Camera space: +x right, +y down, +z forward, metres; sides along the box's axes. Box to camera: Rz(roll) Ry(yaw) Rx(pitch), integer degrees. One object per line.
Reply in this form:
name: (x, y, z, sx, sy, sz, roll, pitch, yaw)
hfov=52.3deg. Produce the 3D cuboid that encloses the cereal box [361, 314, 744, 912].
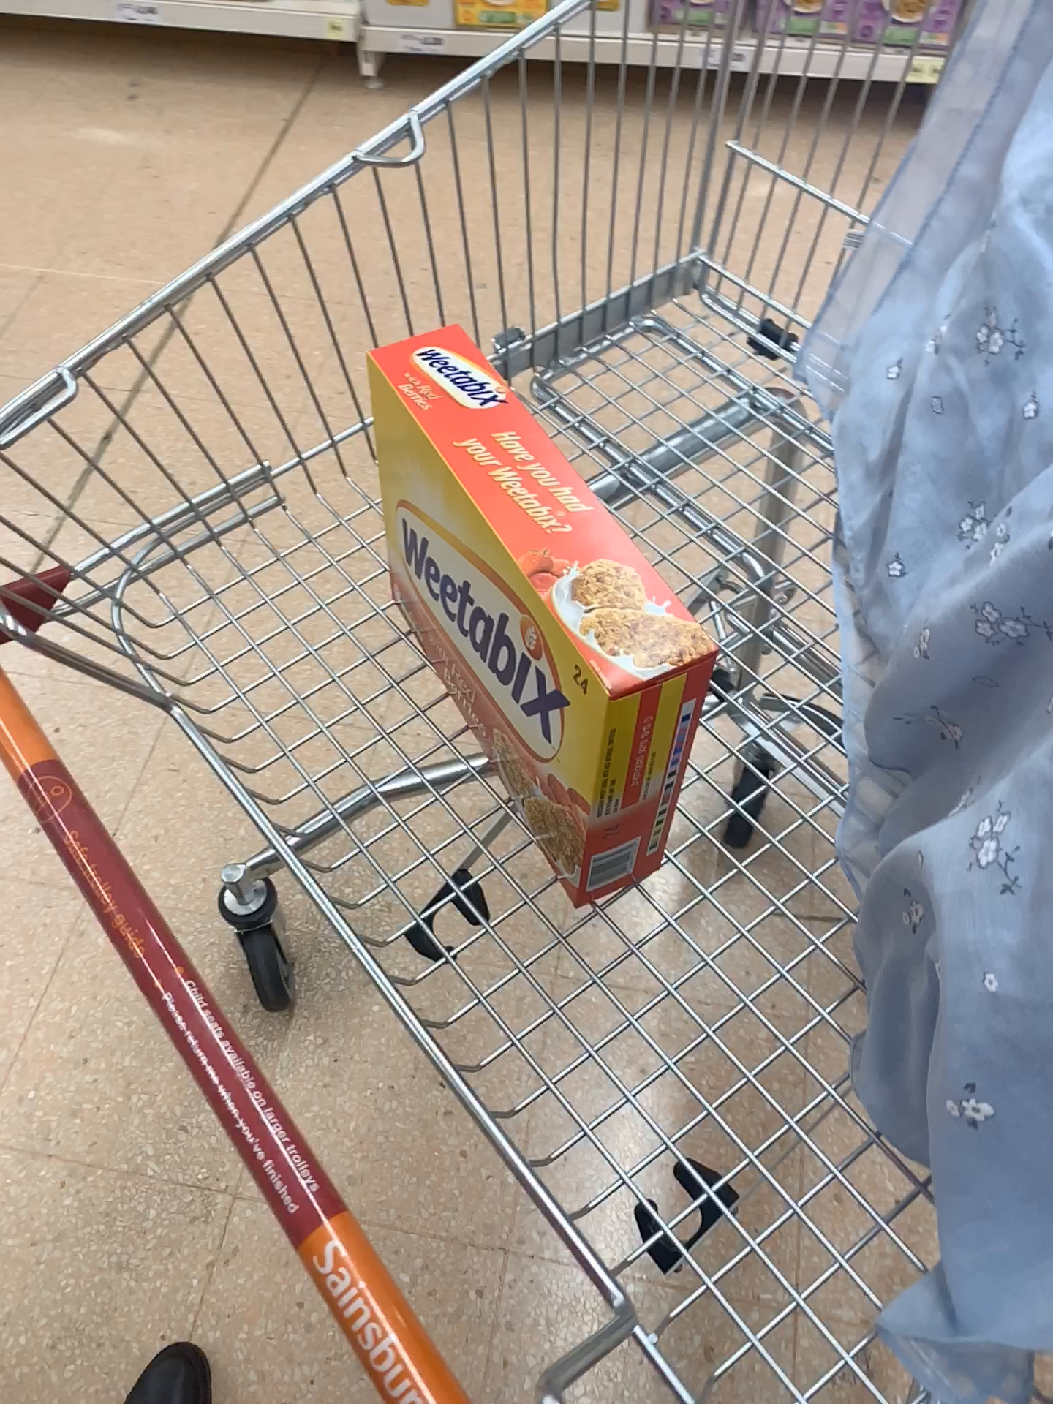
cereal box: (-0.002, -0.048, 0.577, 0.060, 0.189, 0.262, -22, 58, -18)
